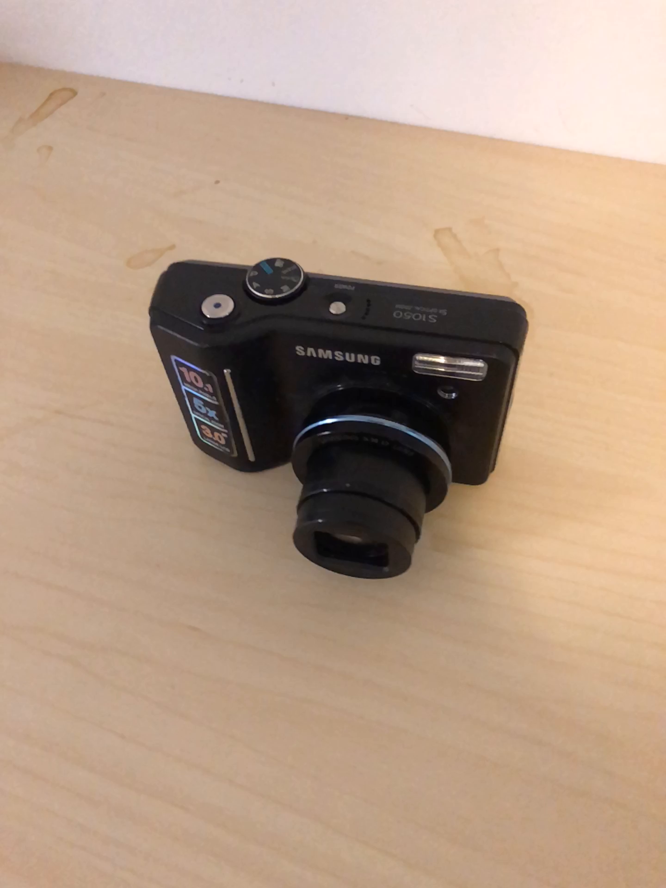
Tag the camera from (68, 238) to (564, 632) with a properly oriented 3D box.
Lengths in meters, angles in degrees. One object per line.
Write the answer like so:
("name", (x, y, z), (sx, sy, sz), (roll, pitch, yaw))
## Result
("camera", (0.001, -0.003, 0.213), (0.110, 0.070, 0.070), (9, 58, 11))
